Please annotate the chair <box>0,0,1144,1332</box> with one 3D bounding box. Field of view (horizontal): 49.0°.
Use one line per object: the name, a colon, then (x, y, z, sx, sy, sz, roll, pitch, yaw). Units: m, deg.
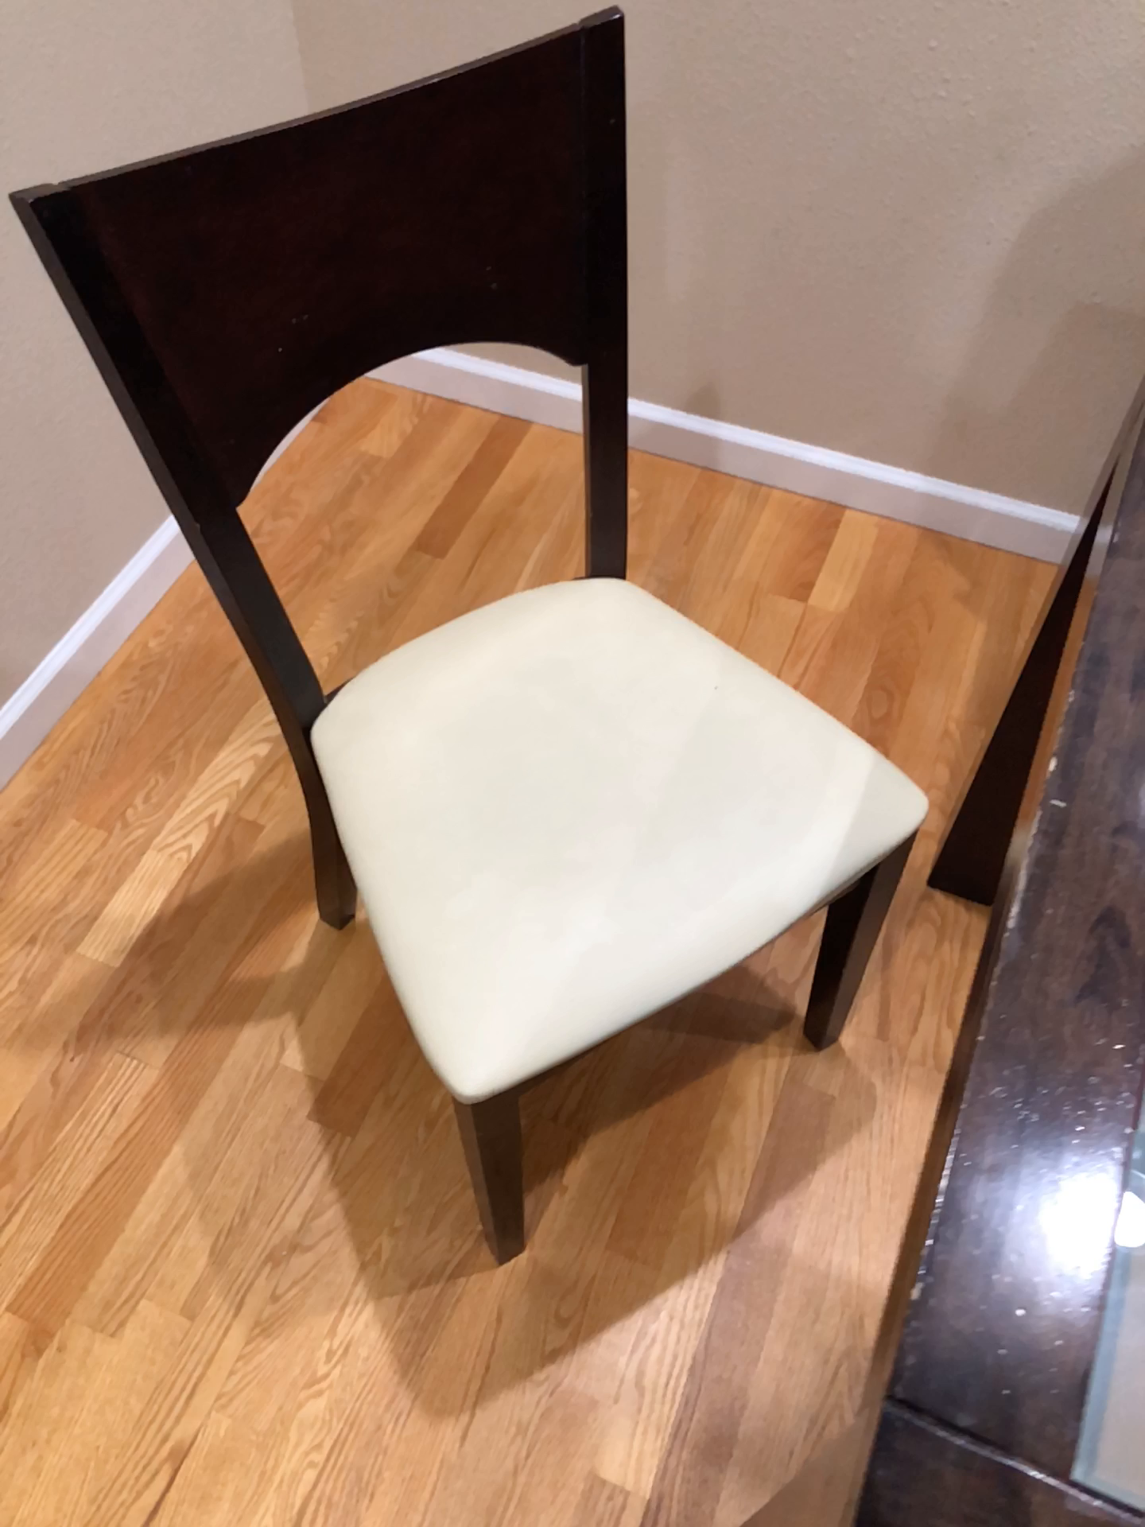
chair: (-0.048, -0.023, 1.040, 0.521, 0.906, 0.532, -26, 58, -18)
